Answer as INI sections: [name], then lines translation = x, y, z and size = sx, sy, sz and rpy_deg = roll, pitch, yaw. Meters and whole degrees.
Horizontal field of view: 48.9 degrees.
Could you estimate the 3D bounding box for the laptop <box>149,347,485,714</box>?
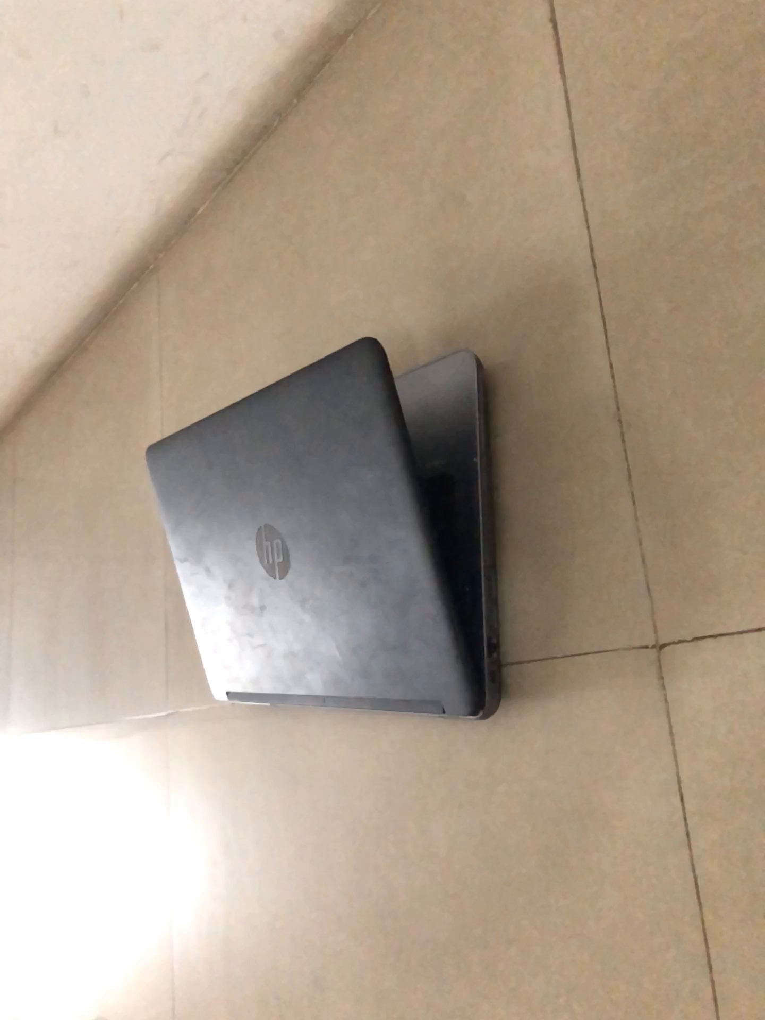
[laptop]
translation = -0.071, 0.034, 0.631
size = 0.306, 0.084, 0.214
rpy_deg = -13, 77, 51
